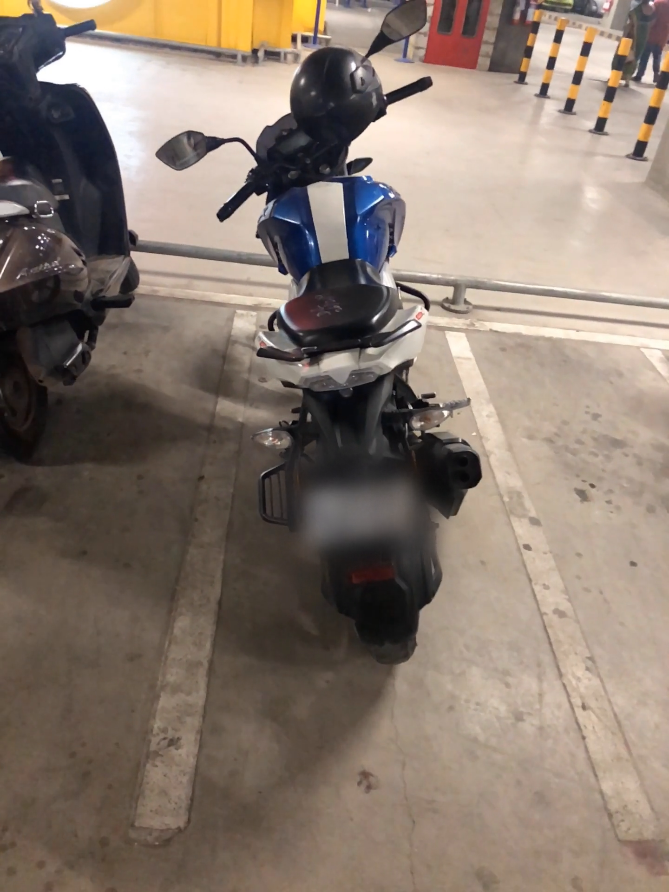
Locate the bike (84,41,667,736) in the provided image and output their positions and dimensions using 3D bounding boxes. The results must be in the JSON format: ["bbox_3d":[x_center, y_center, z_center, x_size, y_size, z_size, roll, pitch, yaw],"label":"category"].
[{"bbox_3d":[-0.137,-0.381,2.136,0.806,1.162,1.996,2,33,-10],"label":"bike"}]
